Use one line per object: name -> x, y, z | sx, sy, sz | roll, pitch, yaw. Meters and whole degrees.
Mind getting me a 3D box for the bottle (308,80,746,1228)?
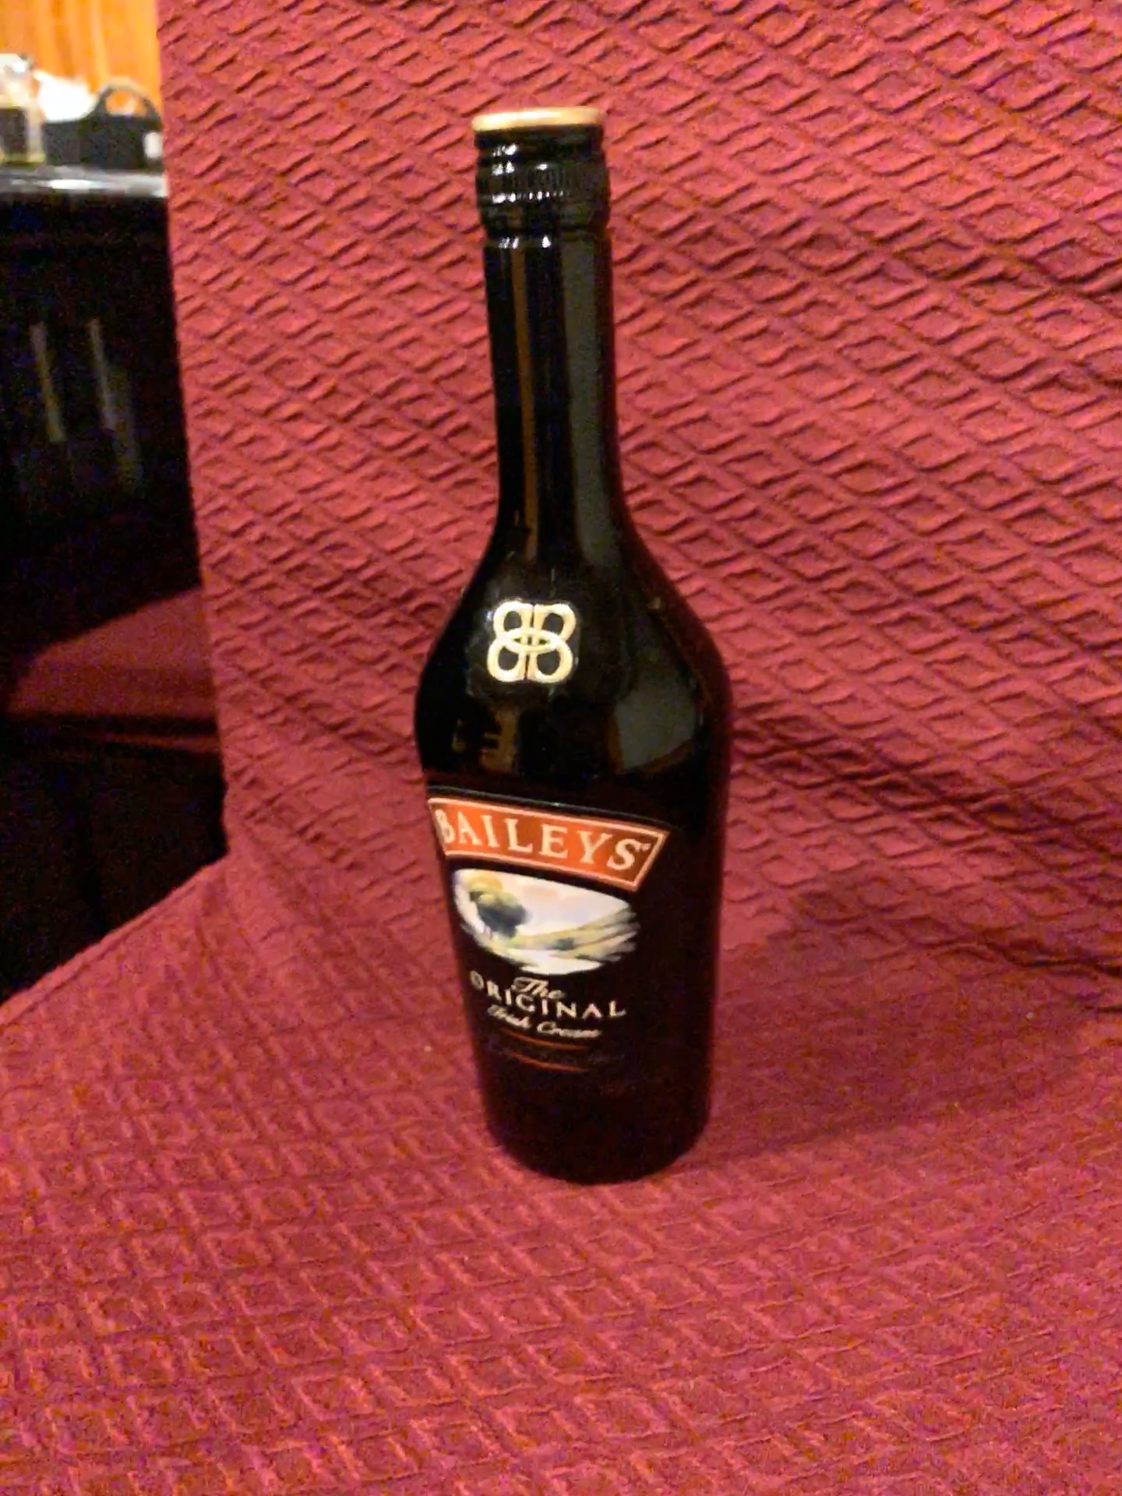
bottle -> 0.001, -0.013, 0.324 | 0.080, 0.289, 0.070 | 6, 24, 20
